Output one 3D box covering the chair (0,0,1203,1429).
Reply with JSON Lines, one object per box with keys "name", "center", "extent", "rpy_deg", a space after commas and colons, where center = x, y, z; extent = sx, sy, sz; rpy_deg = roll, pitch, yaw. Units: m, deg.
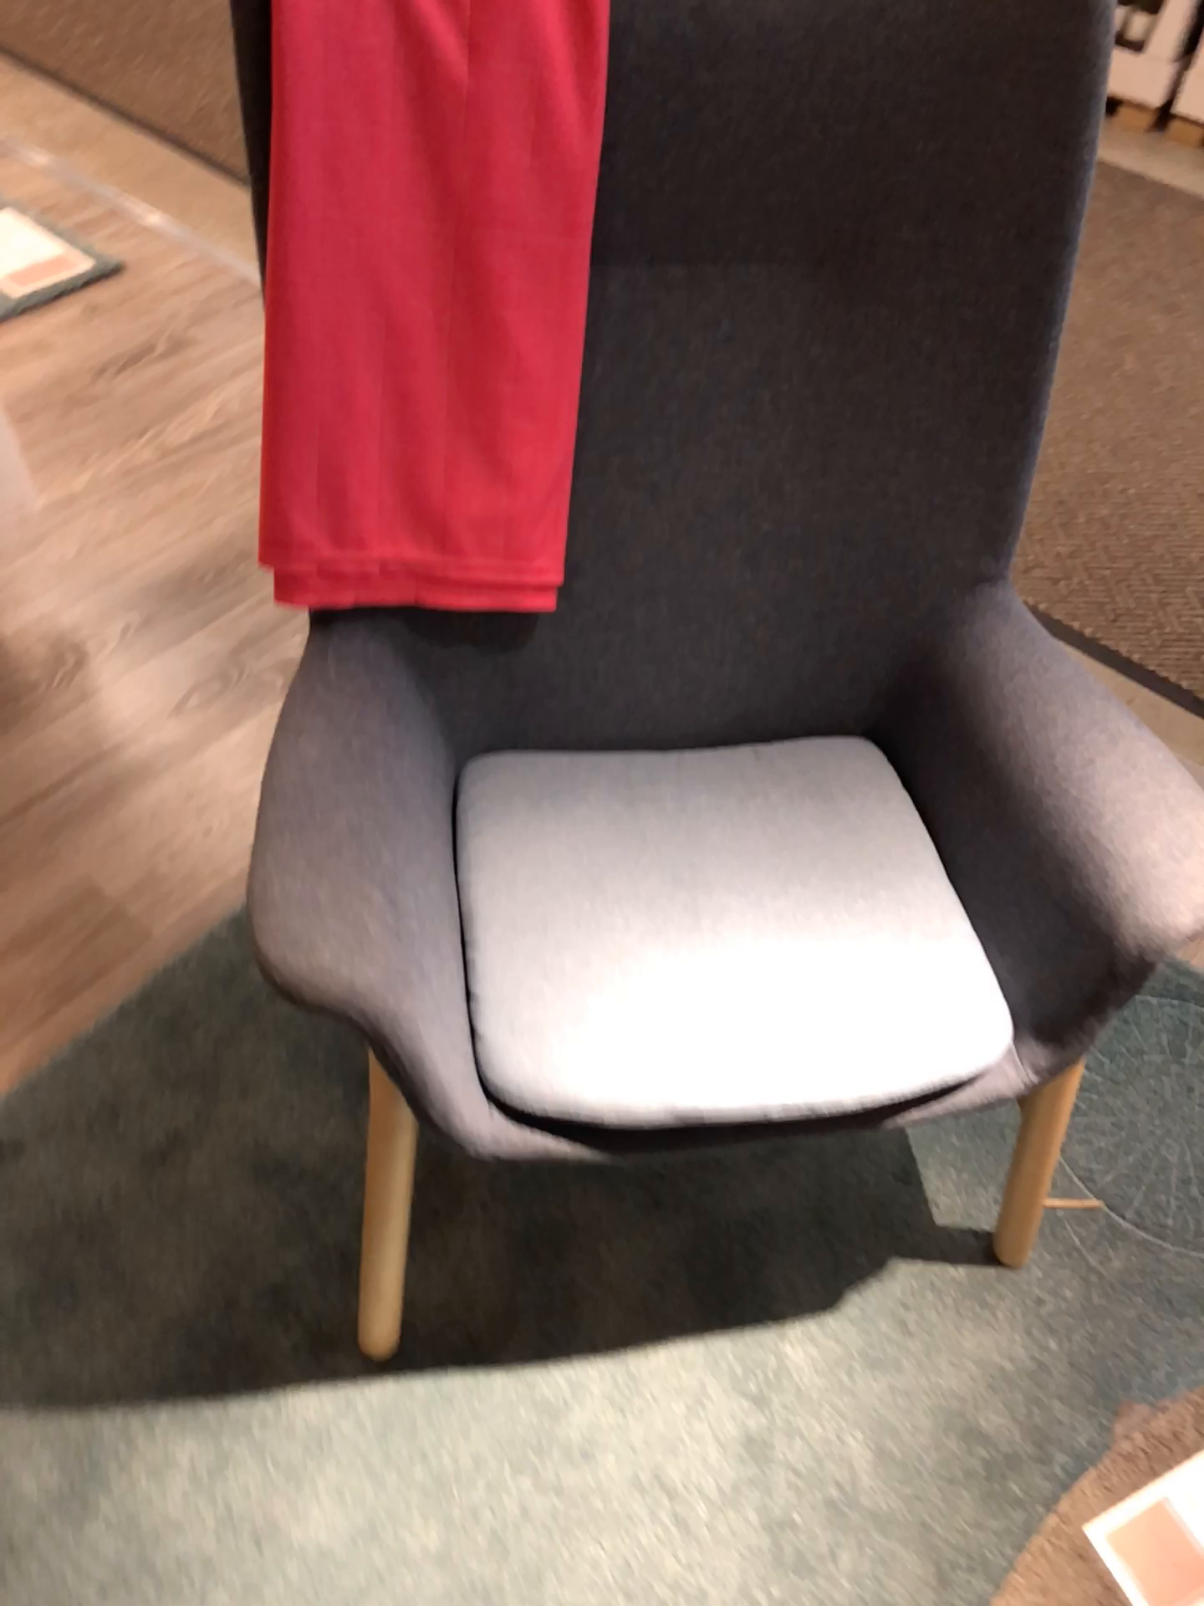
{"name": "chair", "center": [0.087, -0.091, 1.028], "extent": [0.790, 0.997, 0.702], "rpy_deg": [-5, 50, -9]}
